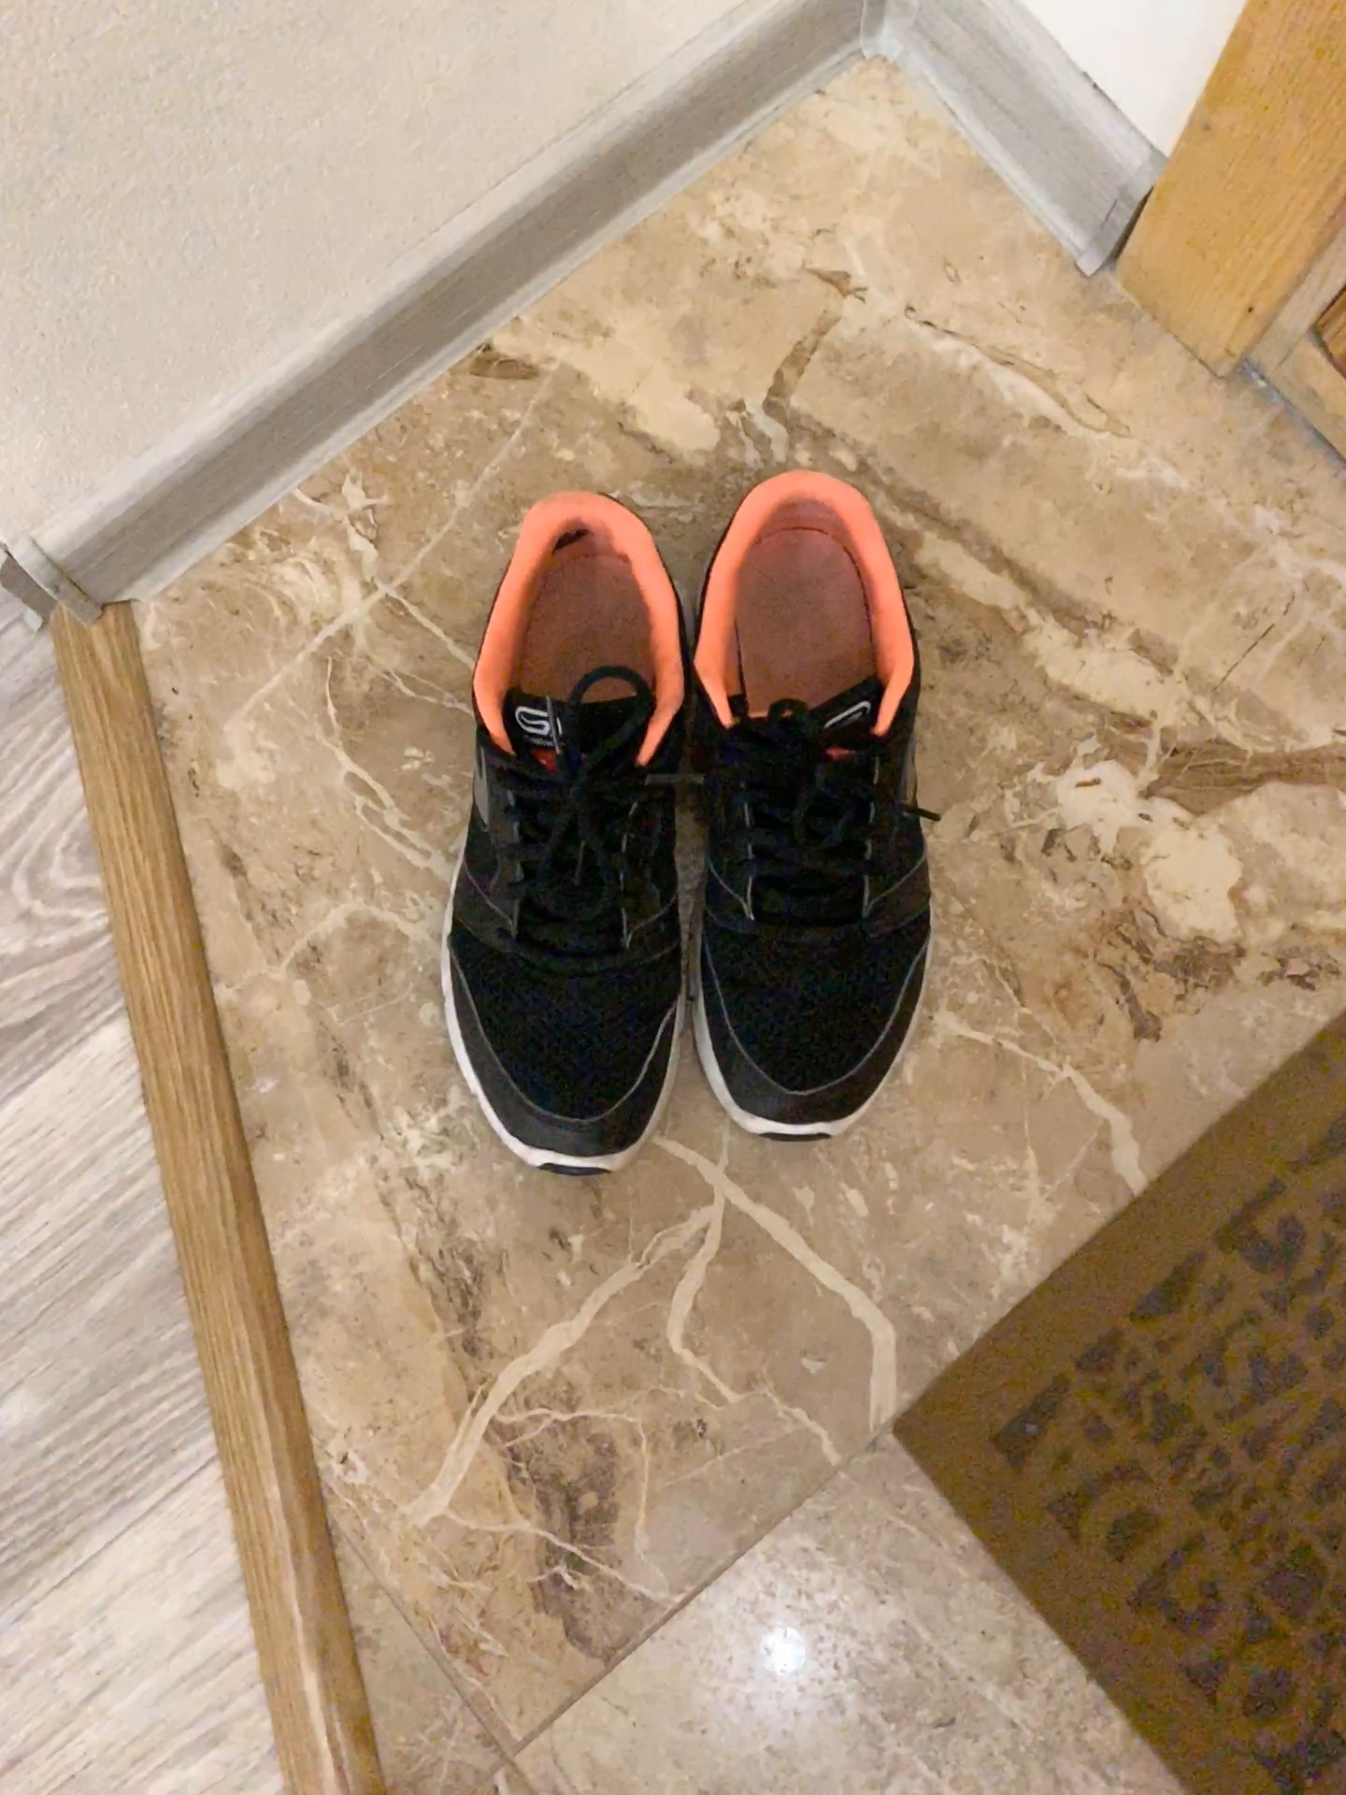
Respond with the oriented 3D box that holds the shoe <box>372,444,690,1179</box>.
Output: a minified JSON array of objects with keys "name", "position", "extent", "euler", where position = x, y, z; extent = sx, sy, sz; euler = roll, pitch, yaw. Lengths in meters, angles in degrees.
[{"name":"shoe","position":[-0.045,-0.026,0.508],"extent":[0.100,0.100,0.250],"euler":[0,80,0]}]

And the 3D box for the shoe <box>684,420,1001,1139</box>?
[{"name":"shoe","position":[0.054,-0.036,0.506],"extent":[0.100,0.100,0.244],"euler":[0,80,0]}]
